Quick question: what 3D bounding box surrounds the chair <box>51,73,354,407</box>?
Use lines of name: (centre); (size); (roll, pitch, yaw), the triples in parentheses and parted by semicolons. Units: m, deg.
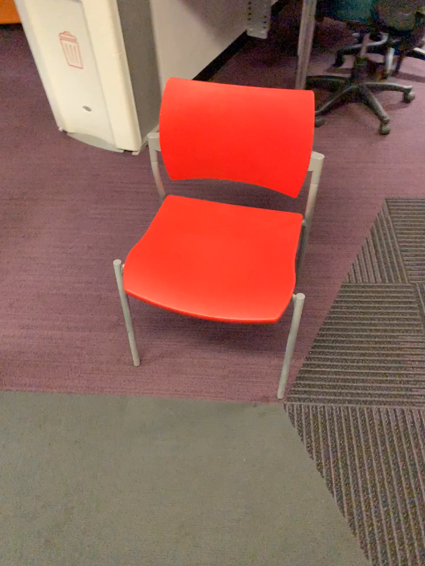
chair: (0.038, -0.112, 1.256); (0.541, 0.684, 0.564); (12, 53, 15)
